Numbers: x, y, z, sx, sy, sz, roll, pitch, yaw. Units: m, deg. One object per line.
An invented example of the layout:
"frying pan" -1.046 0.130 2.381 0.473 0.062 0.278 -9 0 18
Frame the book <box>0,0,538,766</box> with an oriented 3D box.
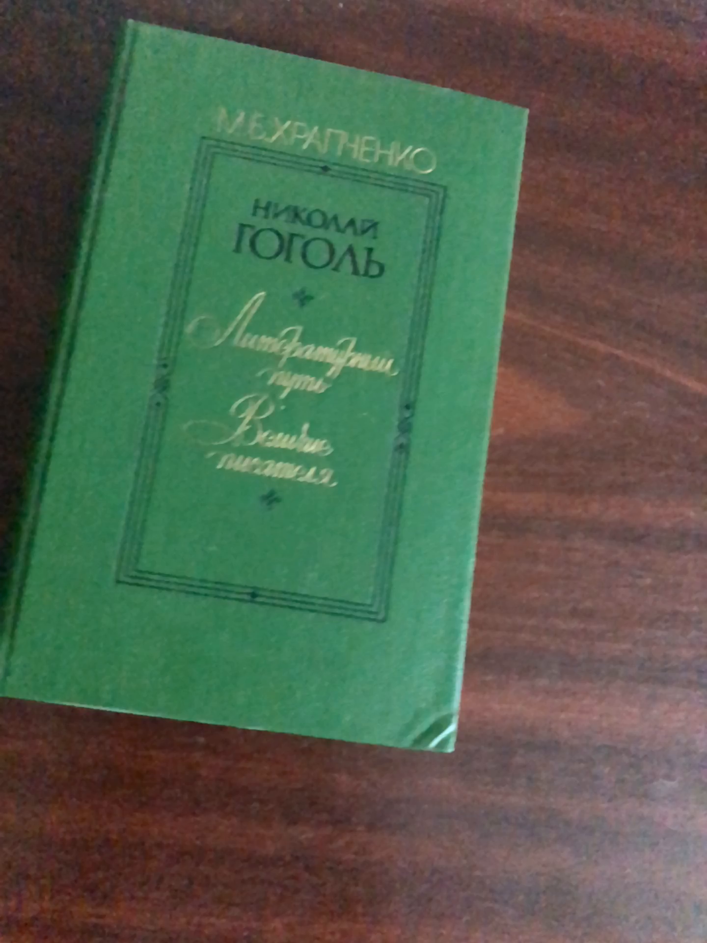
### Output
"book" -0.023 -0.027 0.248 0.129 0.050 0.206 9 80 -6
